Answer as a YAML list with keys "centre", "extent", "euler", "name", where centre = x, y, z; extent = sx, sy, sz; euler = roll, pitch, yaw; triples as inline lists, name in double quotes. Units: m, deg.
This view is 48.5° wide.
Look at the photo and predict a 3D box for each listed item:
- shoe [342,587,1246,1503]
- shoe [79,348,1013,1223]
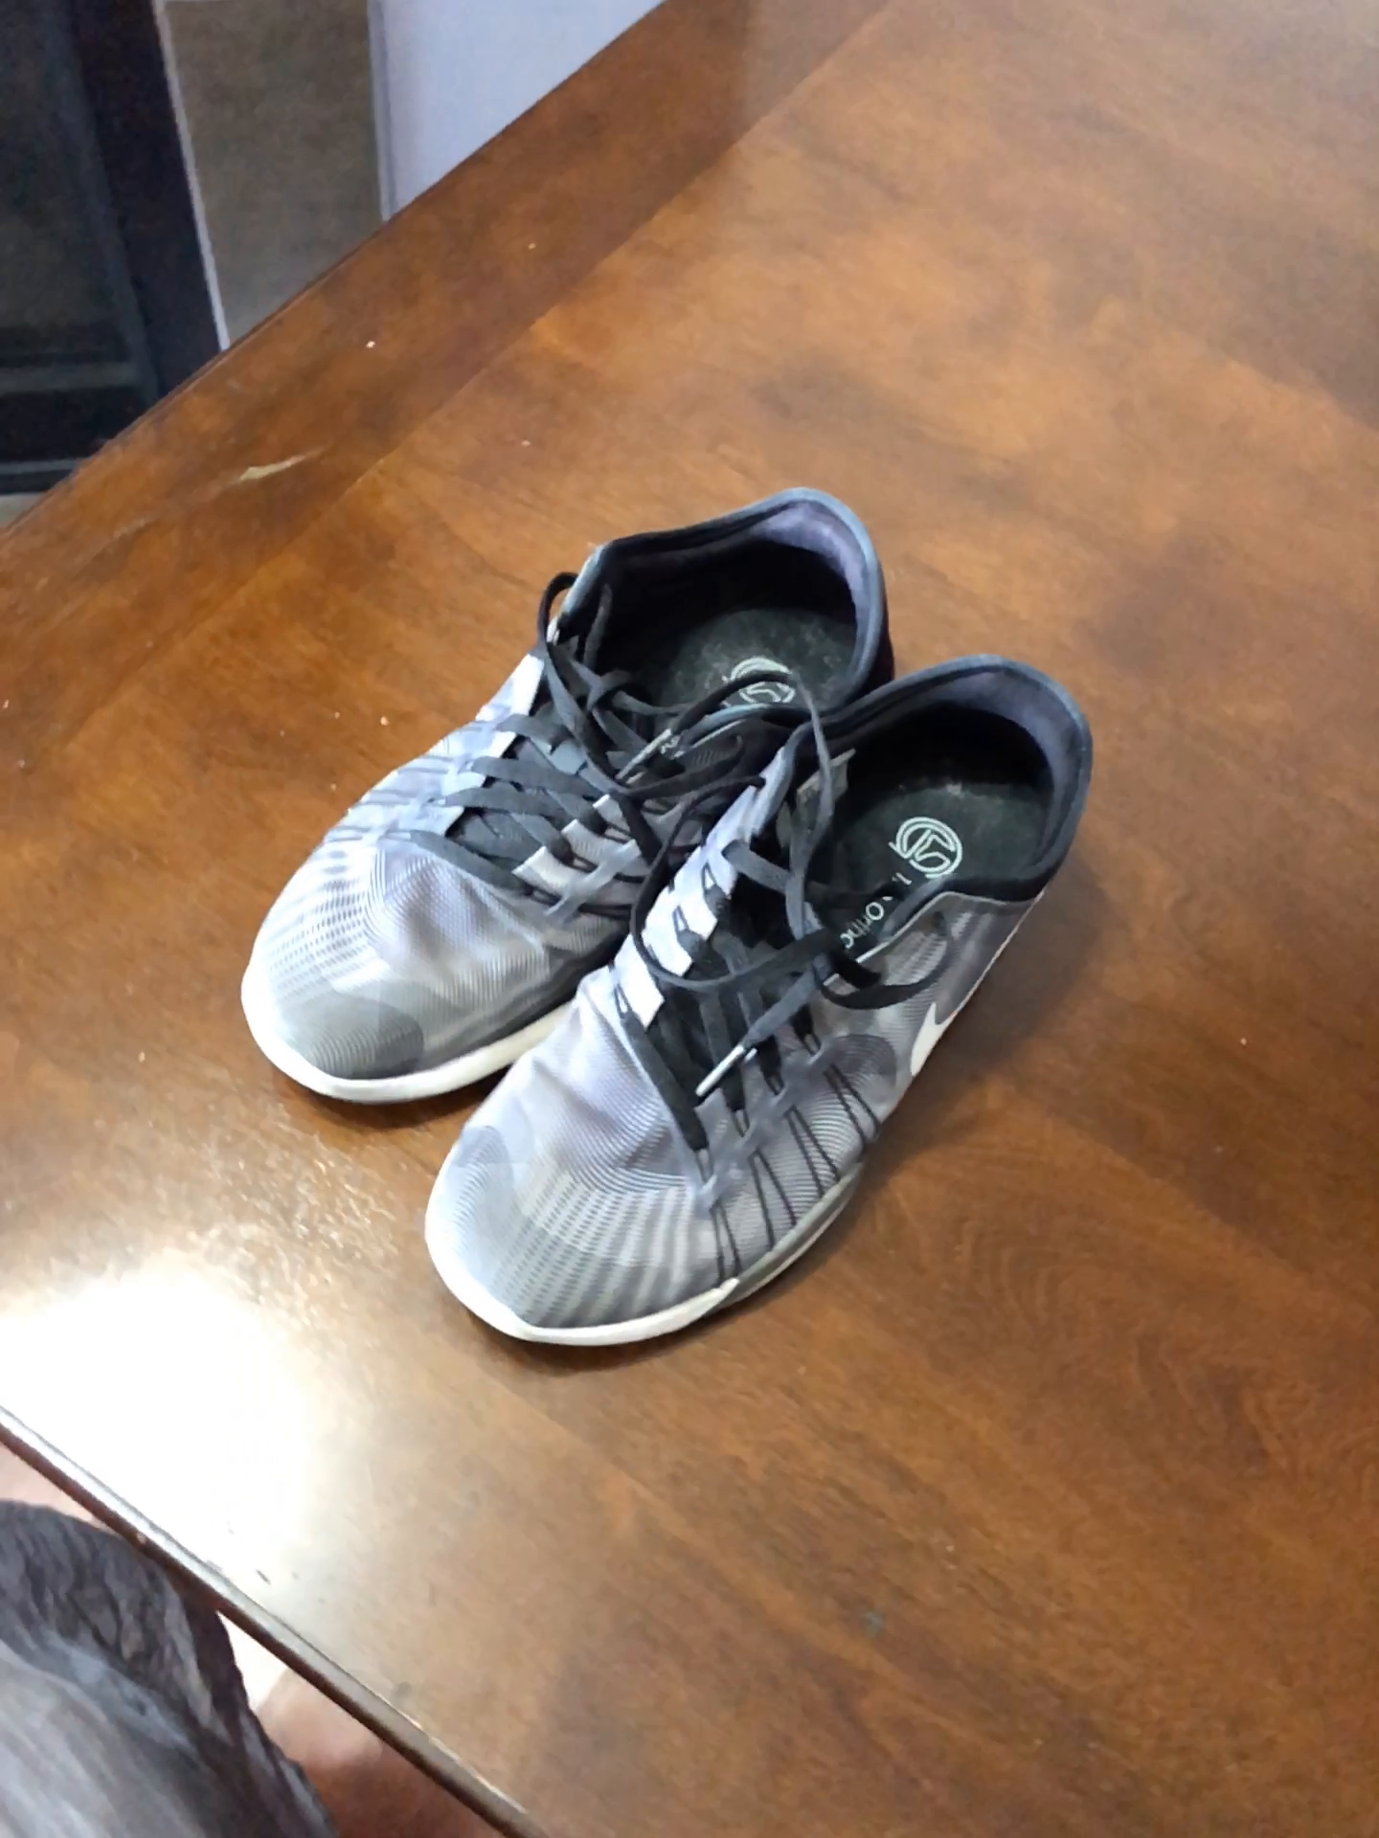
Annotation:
- centre: [0.032, 0.027, 0.412]
  extent: [0.100, 0.080, 0.230]
  euler: [41, 65, 14]
  name: "shoe"
- centre: [-0.030, -0.043, 0.425]
  extent: [0.100, 0.090, 0.230]
  euler: [41, 65, 14]
  name: "shoe"
